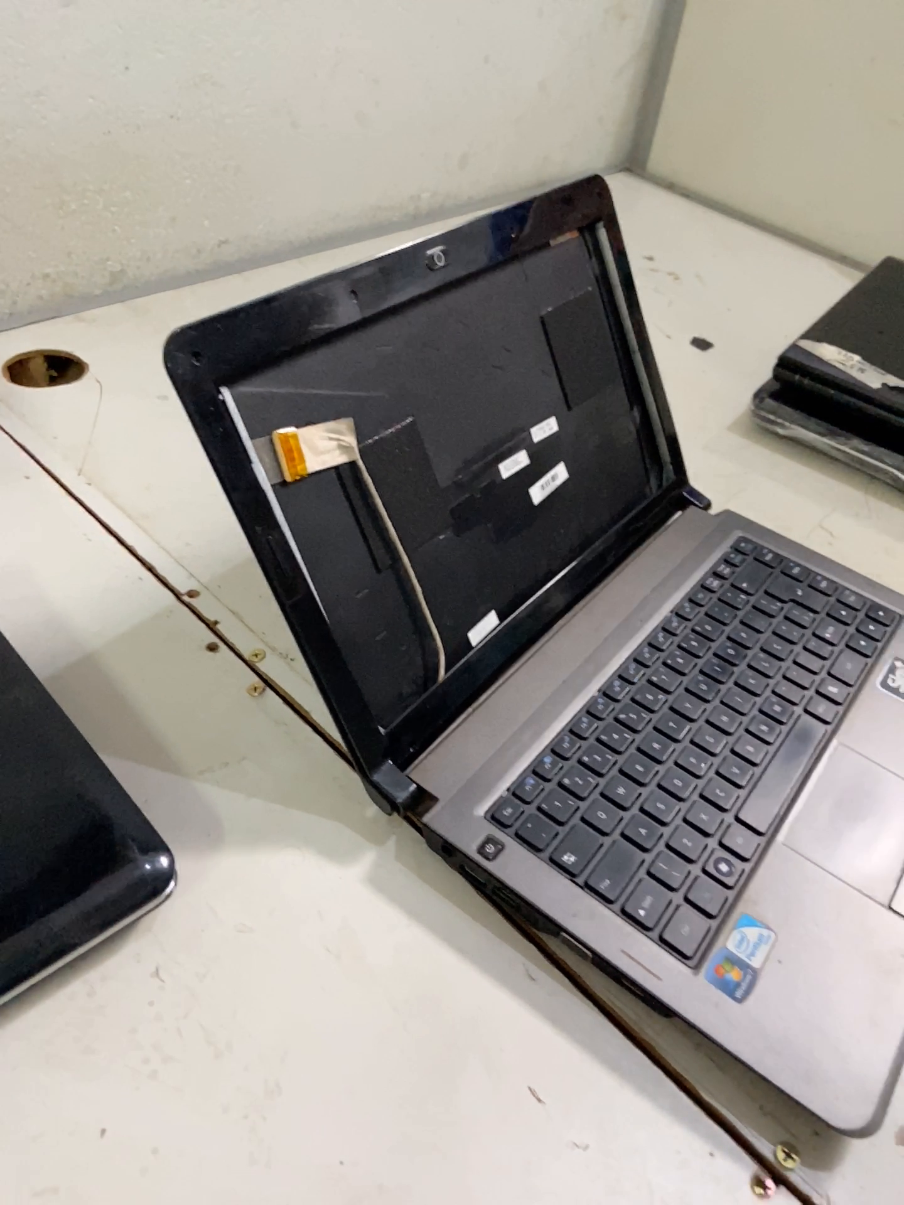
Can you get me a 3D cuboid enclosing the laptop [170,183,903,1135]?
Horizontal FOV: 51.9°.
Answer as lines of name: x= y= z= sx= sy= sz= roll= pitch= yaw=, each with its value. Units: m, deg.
laptop: x=0.123 y=-0.036 z=0.472 sx=0.365 sy=0.173 sz=0.344 roll=31 pitch=46 yaw=23
